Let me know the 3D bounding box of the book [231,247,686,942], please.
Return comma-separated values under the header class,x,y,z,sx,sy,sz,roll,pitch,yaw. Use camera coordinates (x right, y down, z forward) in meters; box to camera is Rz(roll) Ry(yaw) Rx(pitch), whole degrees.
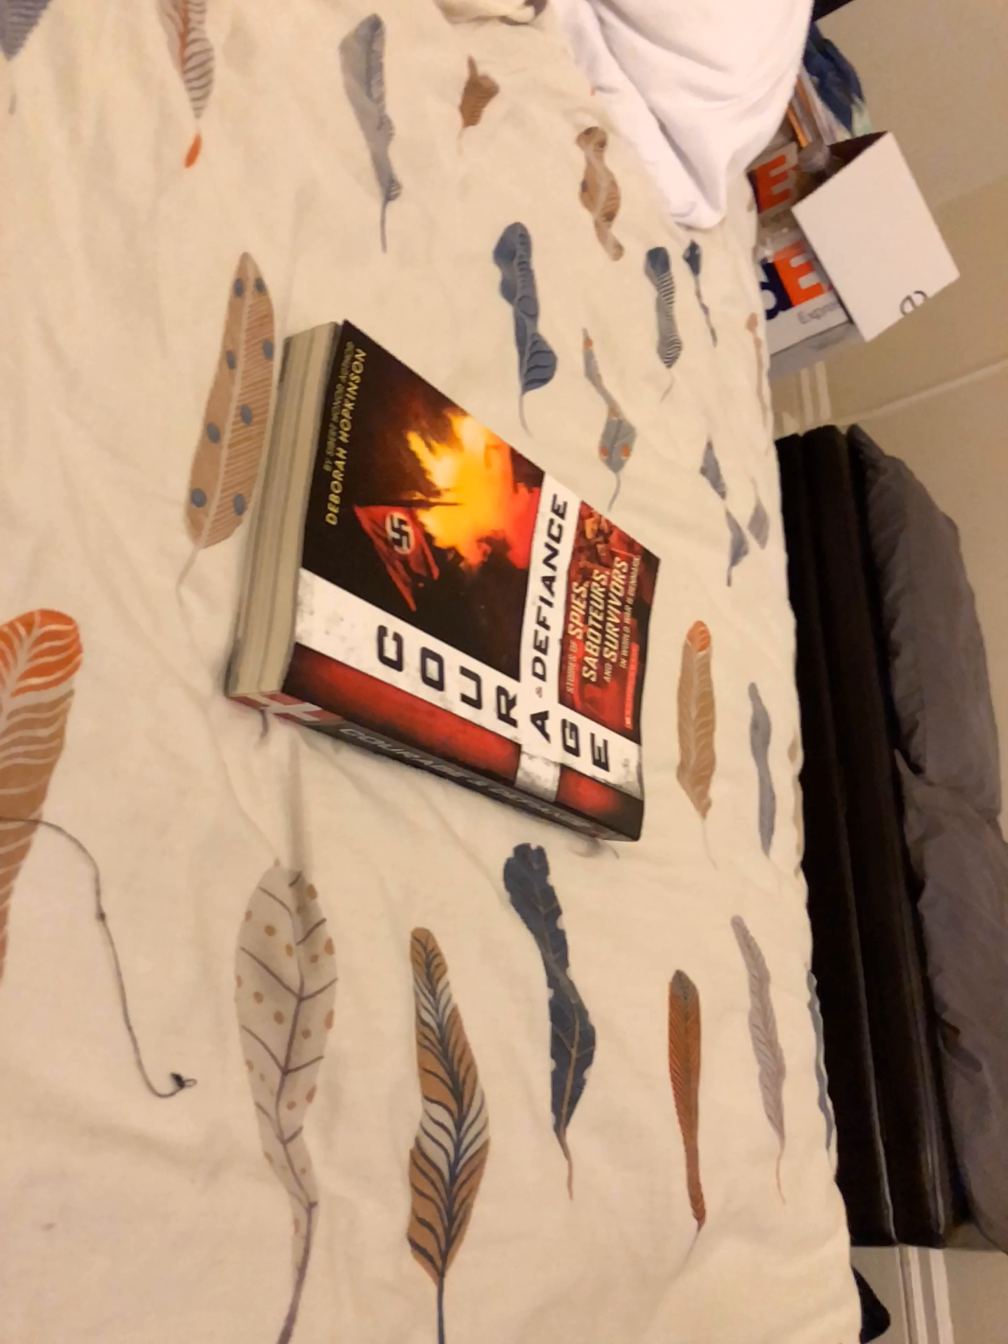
class,x,y,z,sx,sy,sz,roll,pitch,yaw
book,-0.002,-0.012,0.421,0.231,0.020,0.200,26,55,-50
